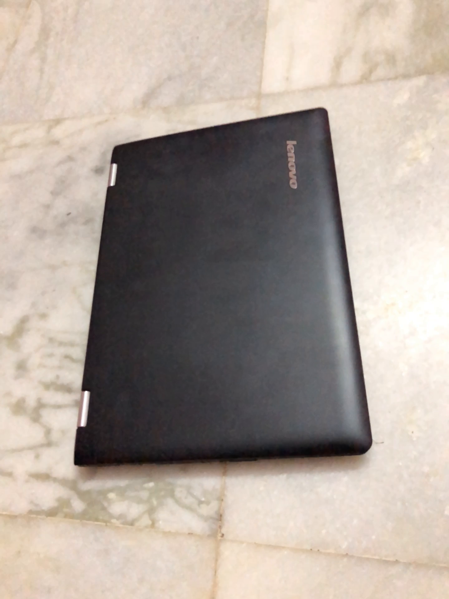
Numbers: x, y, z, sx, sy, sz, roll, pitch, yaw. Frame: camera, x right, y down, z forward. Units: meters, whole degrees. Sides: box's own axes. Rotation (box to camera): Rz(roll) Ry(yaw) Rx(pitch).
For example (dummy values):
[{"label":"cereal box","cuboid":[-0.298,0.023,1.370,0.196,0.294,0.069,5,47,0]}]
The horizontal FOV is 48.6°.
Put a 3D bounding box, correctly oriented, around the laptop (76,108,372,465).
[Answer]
[{"label":"laptop","cuboid":[-0.007,-0.030,0.440,0.222,0.002,0.329,-6,62,11]}]
